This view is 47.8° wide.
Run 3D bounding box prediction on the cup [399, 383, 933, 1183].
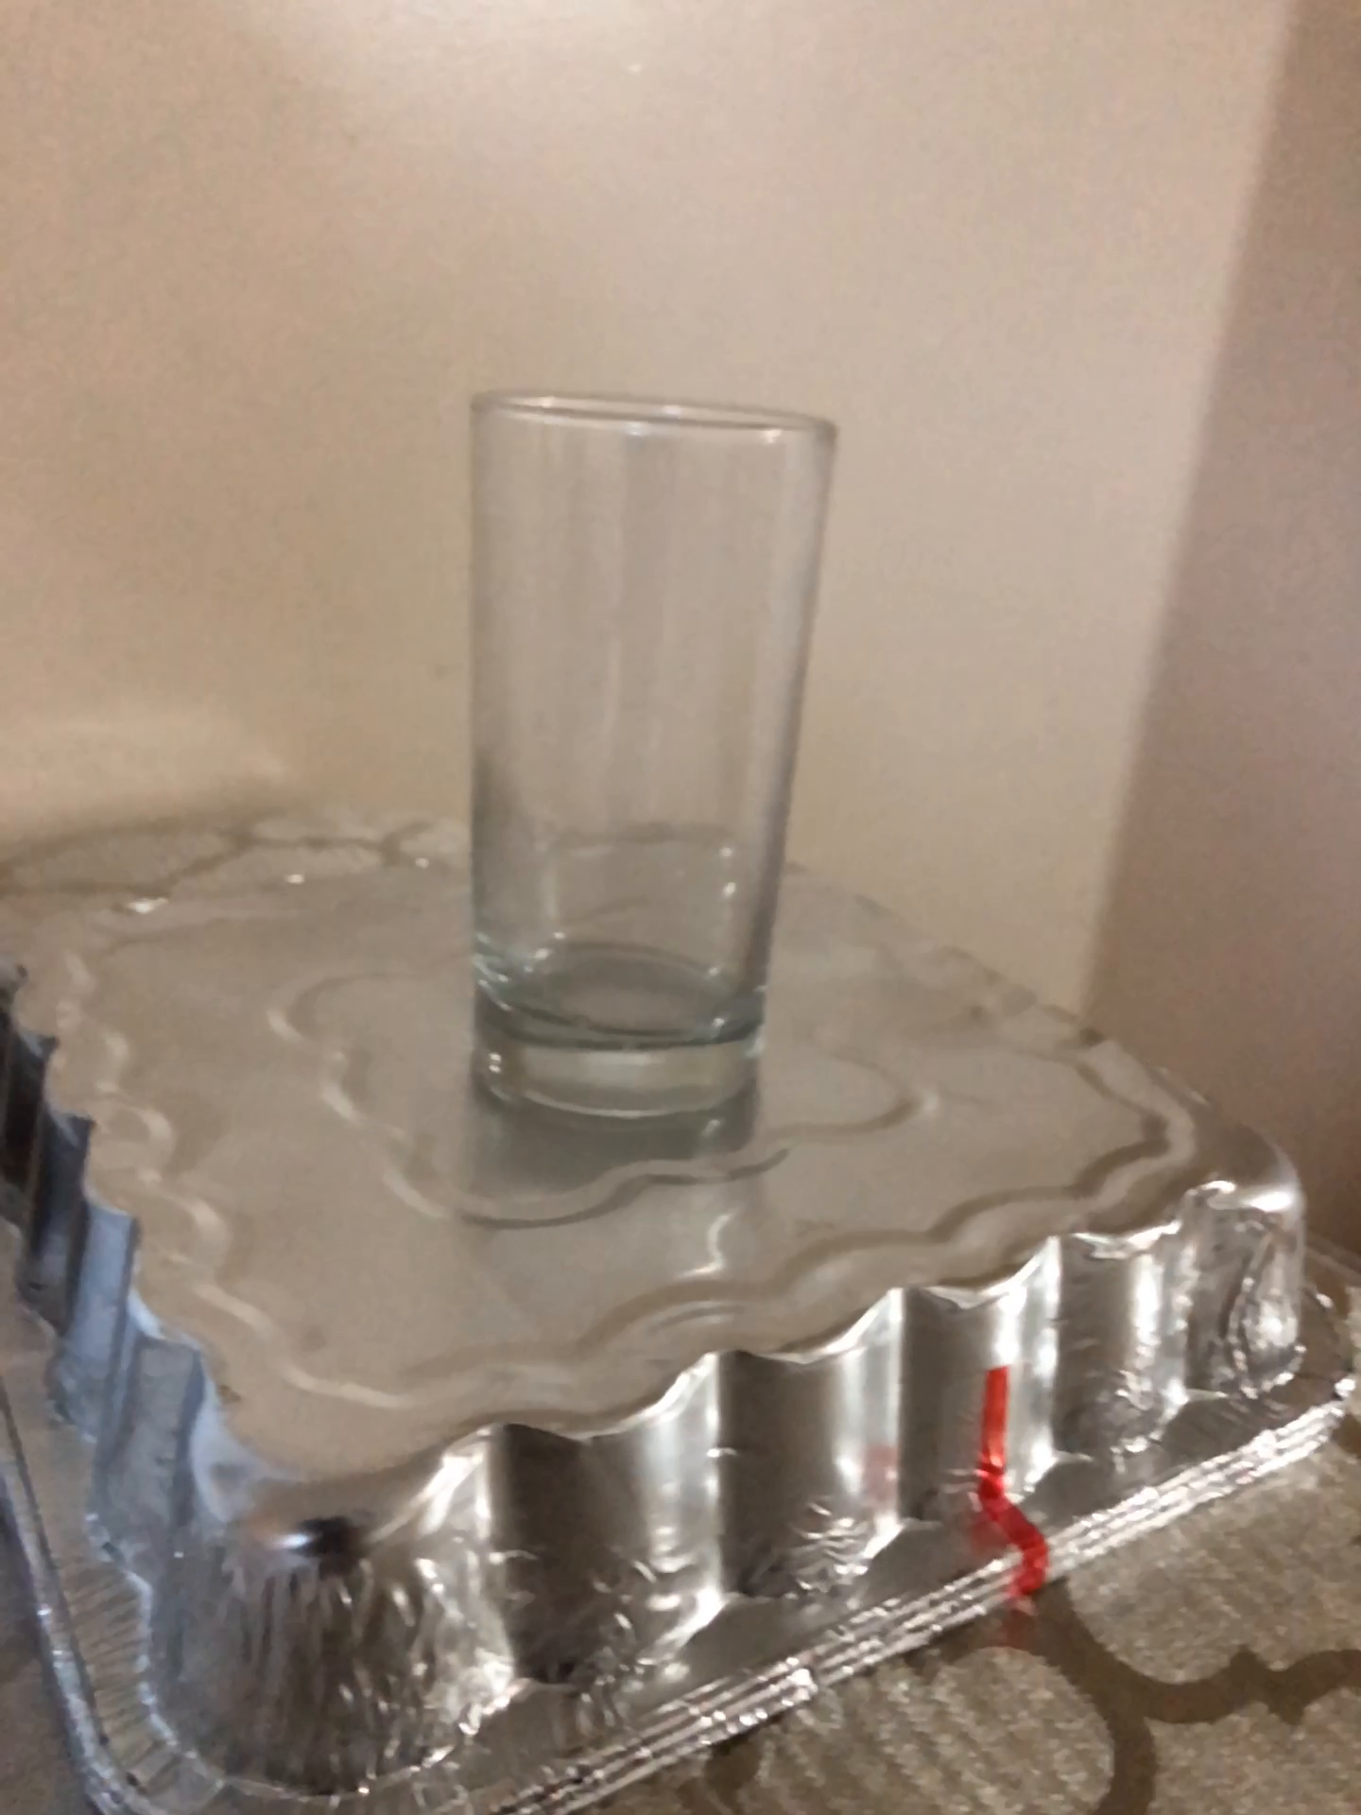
[{"bbox_3d":[-0.004,-0.026,0.272,0.060,0.120,0.060,6,20,-2],"label":"cup"}]
